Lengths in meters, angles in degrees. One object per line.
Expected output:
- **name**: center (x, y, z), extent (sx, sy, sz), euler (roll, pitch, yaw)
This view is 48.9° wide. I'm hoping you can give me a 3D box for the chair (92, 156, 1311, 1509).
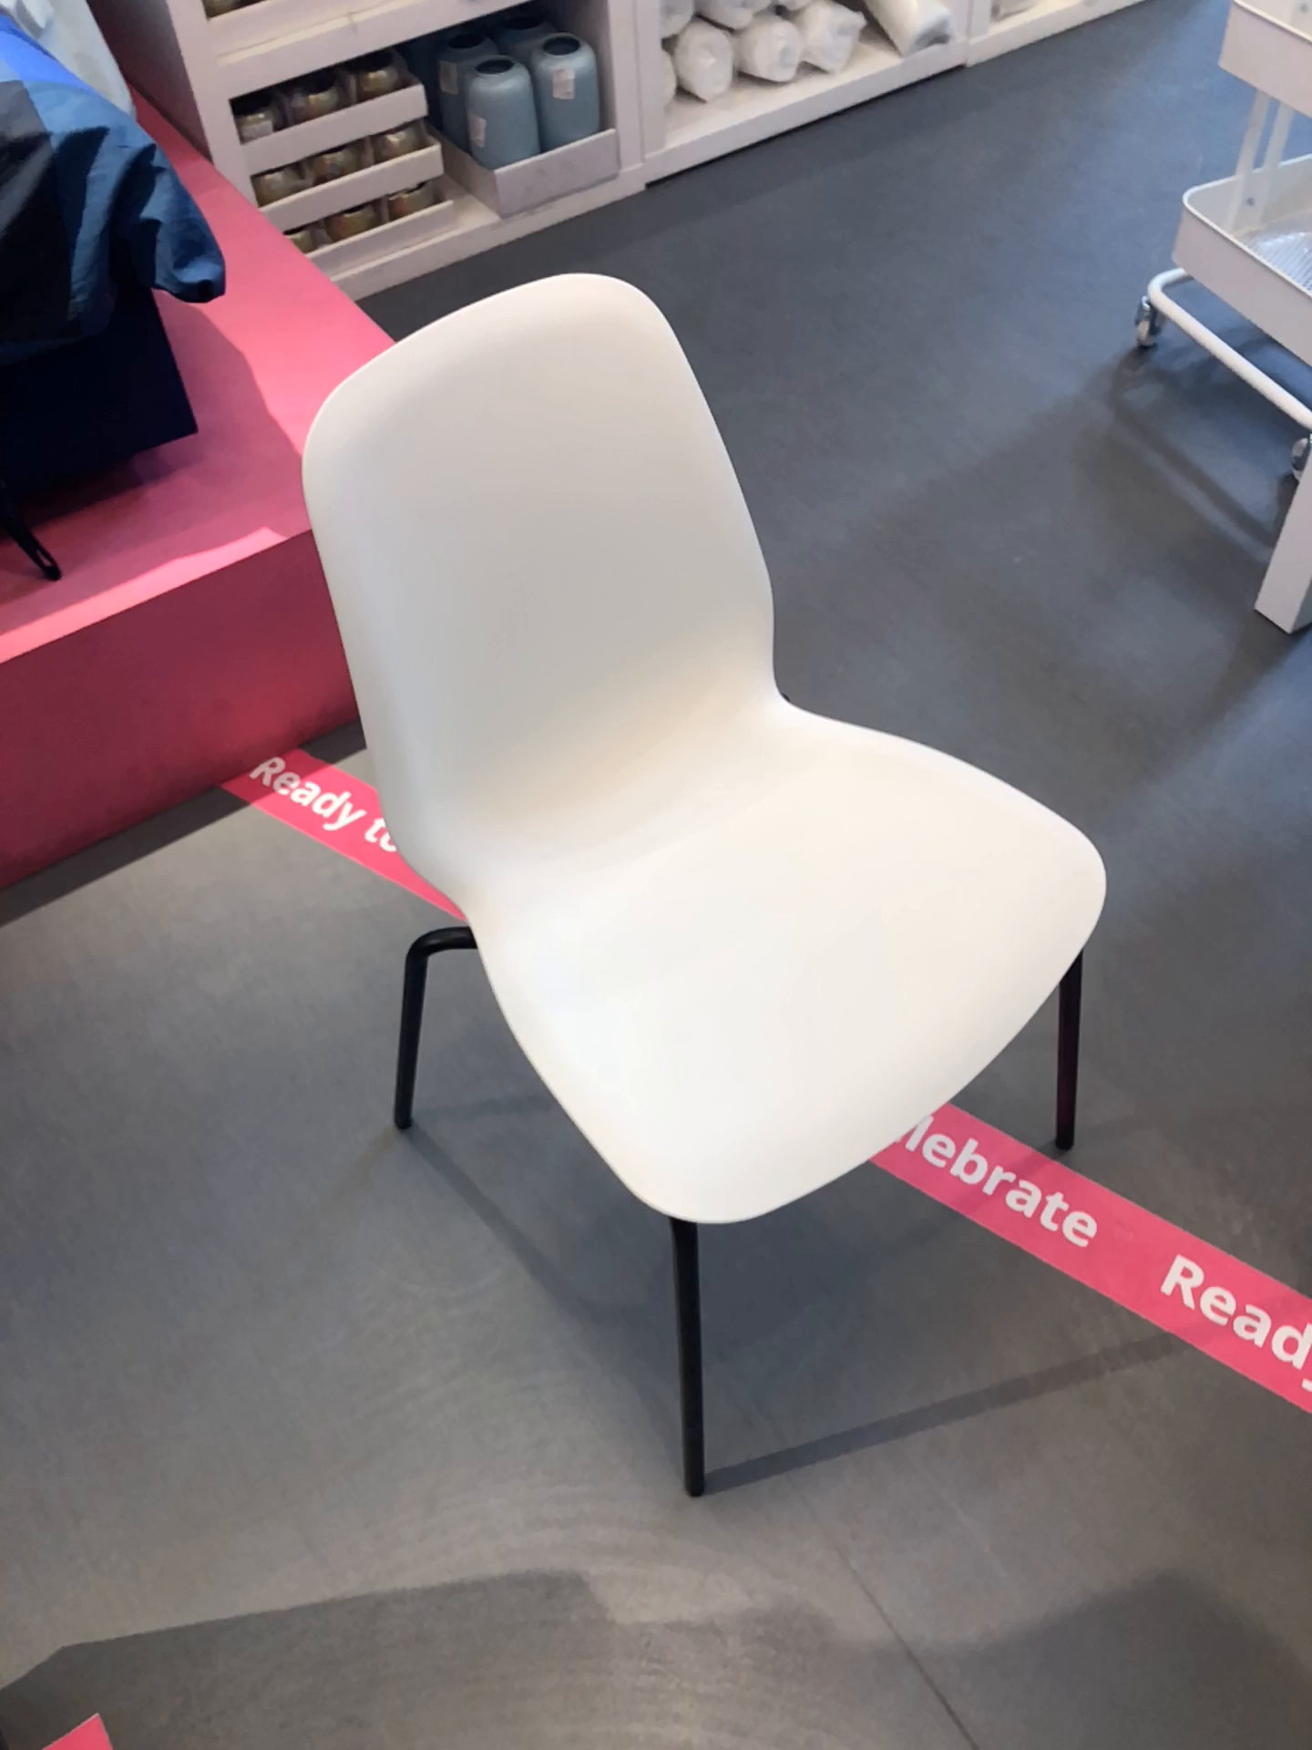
- **chair**: center (0.048, 0.003, 1.099), extent (0.511, 0.756, 0.492), euler (-35, 57, -22)
